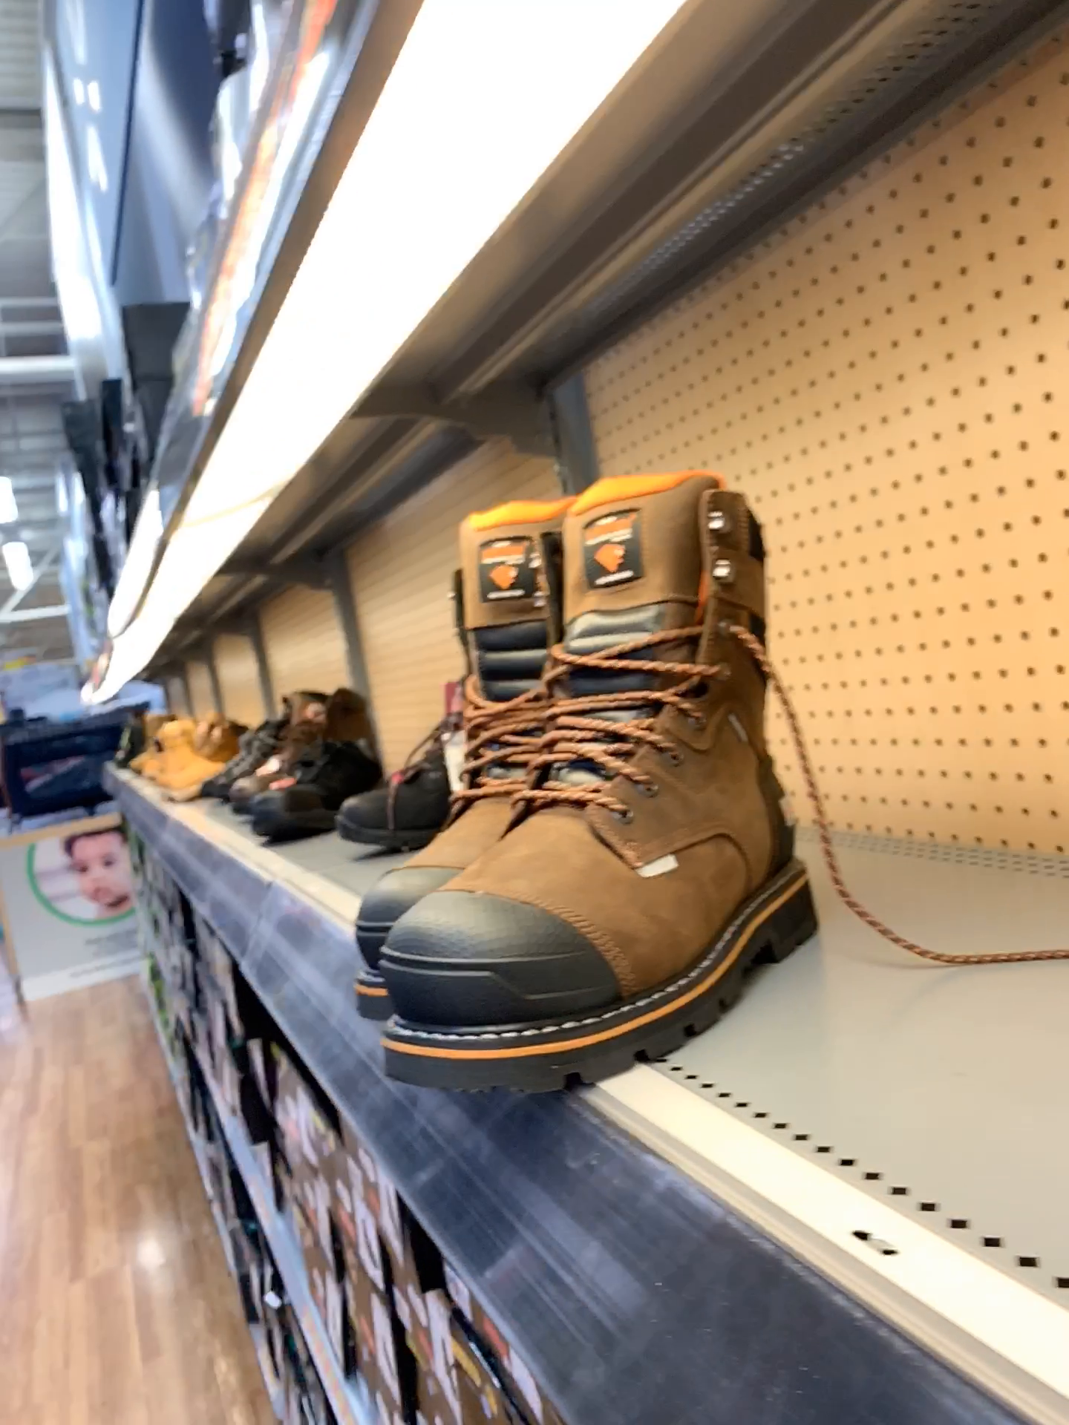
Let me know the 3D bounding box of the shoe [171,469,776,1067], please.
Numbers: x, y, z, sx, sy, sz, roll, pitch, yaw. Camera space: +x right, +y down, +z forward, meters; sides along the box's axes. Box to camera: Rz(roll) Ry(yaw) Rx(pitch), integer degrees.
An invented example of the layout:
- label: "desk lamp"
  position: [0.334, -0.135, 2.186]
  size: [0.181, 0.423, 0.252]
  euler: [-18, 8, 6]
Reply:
- label: "shoe"
  position: [-0.018, 0.009, 0.675]
  size: [0.136, 0.280, 0.313]
  euler: [-8, 4, 44]

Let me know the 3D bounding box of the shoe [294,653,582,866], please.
- label: "shoe"
  position: [-0.108, 0.046, 1.217]
  size: [0.257, 0.170, 0.146]
  euler: [-12, 3, -21]

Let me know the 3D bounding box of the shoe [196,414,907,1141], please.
- label: "shoe"
  position: [0.033, 0.005, 0.550]
  size: [0.134, 0.260, 0.318]
  euler: [-8, 4, 43]
